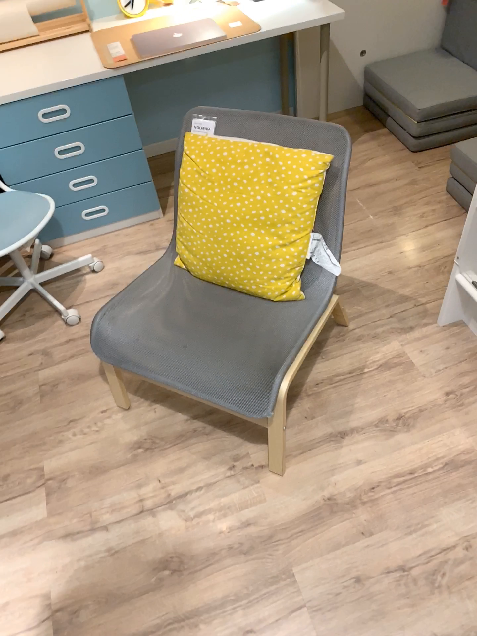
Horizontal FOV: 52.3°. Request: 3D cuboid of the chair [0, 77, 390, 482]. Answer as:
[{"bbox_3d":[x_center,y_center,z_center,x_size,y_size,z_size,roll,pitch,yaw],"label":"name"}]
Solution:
[{"bbox_3d":[-0.035,-0.128,1.315,0.631,0.707,0.672,16,52,22],"label":"chair"}]
